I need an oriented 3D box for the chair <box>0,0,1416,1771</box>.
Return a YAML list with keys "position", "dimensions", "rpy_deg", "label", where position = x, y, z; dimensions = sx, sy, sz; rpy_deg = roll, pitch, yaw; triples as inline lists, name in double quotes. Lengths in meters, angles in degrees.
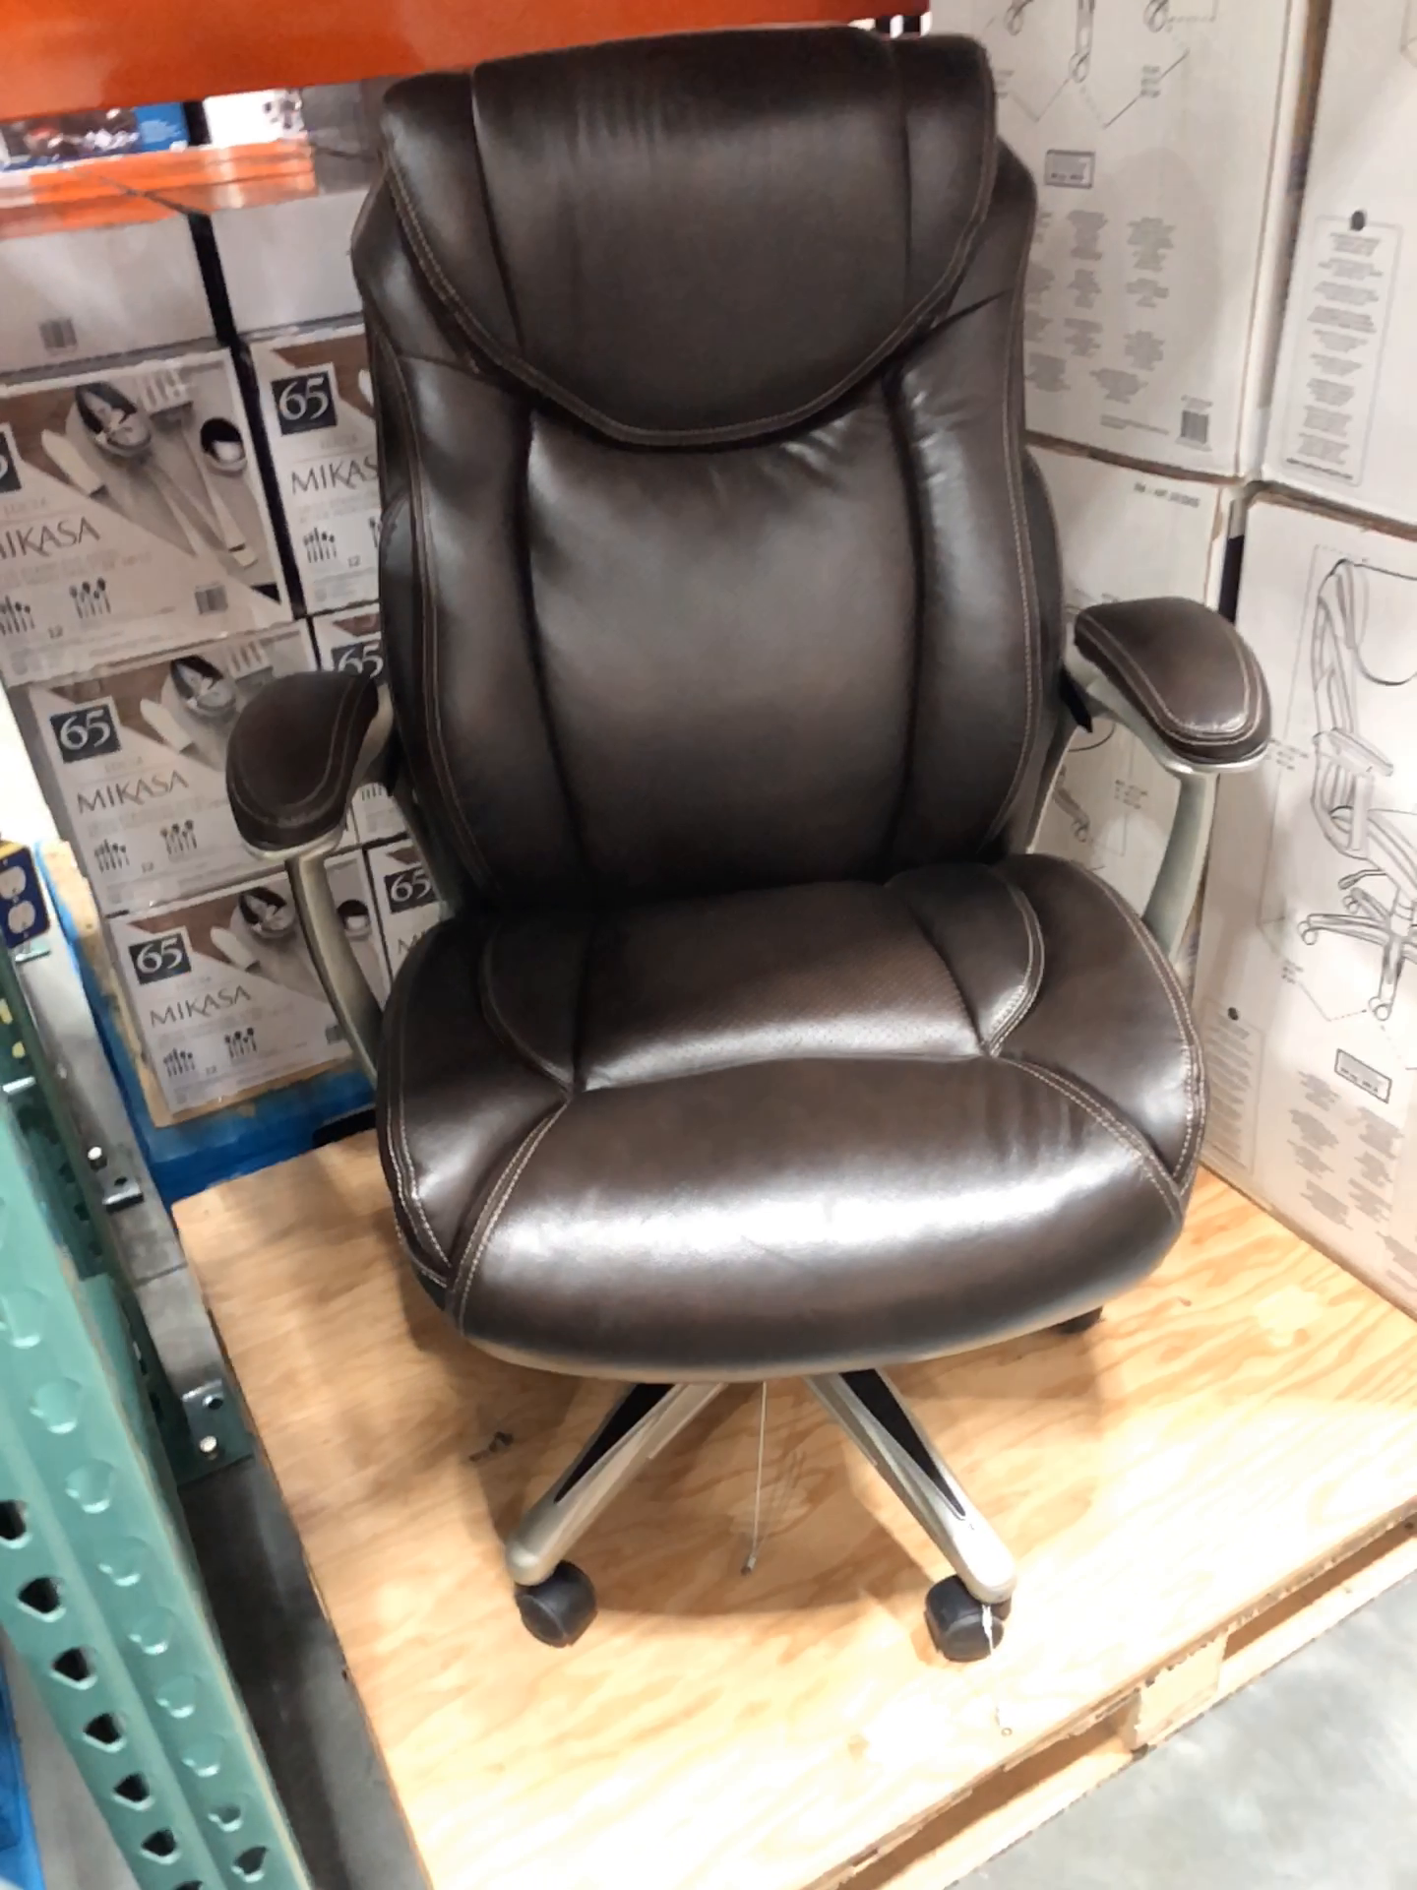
- position: [0.017, -0.111, 1.168]
  dimensions: [0.660, 1.095, 0.723]
  rpy_deg: [-9, 32, -7]
  label: "chair"
